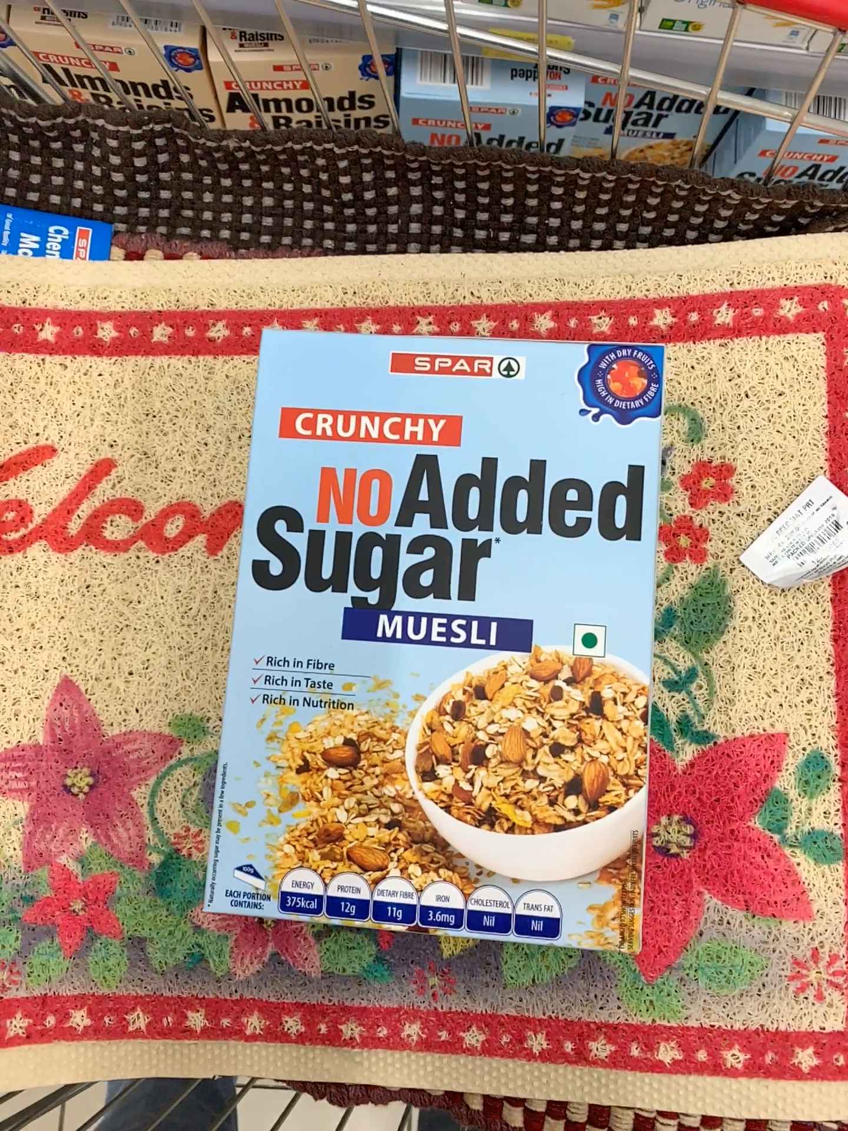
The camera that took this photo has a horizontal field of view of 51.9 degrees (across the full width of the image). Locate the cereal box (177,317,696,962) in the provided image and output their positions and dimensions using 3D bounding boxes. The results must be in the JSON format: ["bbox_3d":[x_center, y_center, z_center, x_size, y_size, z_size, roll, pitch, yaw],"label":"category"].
[{"bbox_3d":[0.009,0.022,0.350,0.180,0.050,0.230,3,82,5],"label":"cereal box"}]
